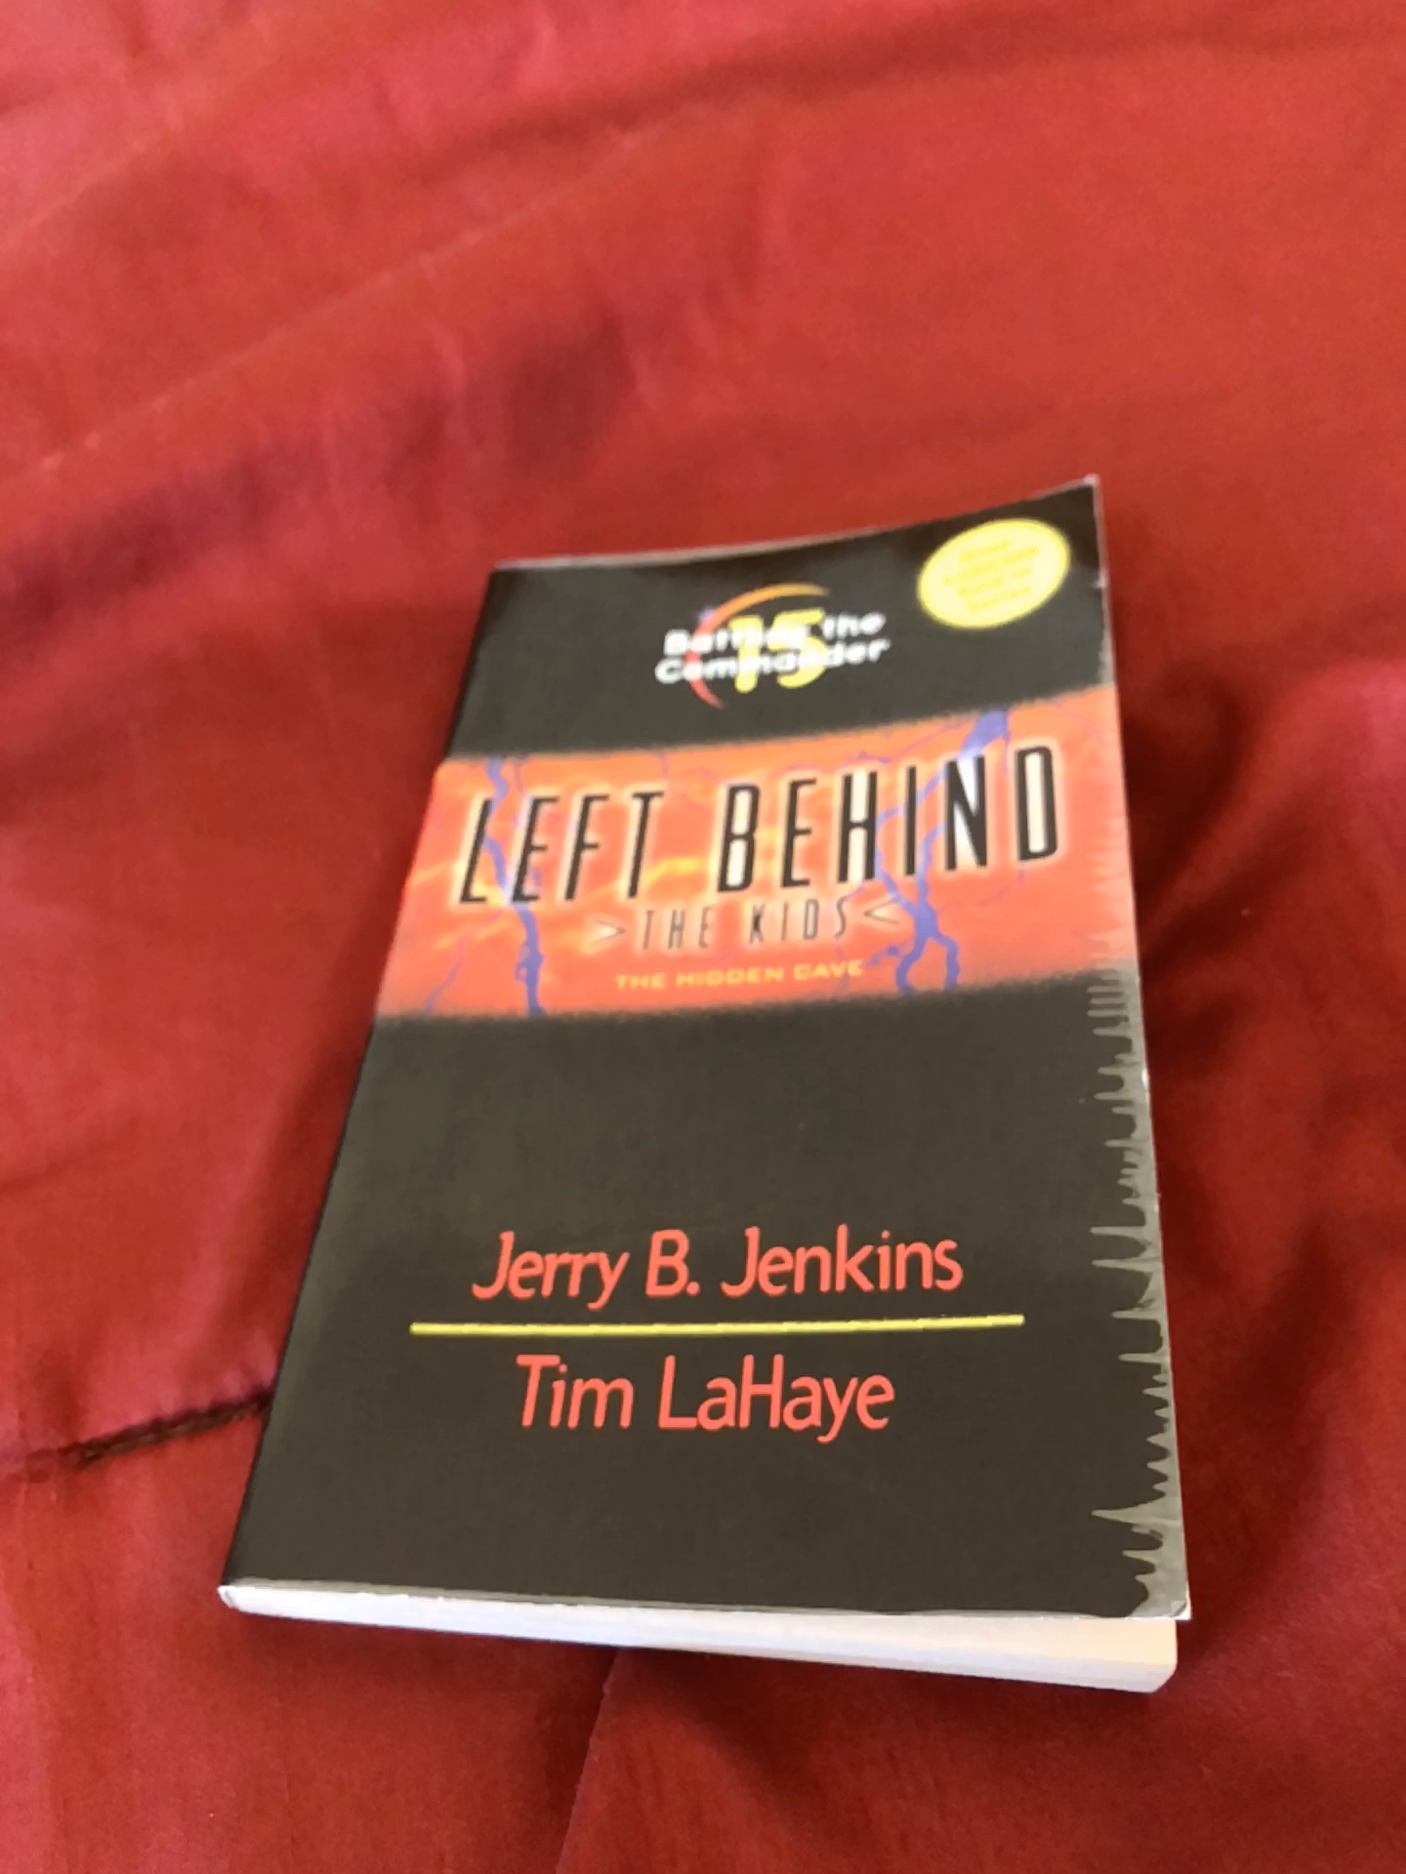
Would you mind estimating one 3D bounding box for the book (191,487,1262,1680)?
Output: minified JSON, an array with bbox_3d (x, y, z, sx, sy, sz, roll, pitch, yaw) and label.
[{"bbox_3d":[0.010,0.005,0.222,0.110,0.026,0.171,-1,52,11],"label":"book"}]
